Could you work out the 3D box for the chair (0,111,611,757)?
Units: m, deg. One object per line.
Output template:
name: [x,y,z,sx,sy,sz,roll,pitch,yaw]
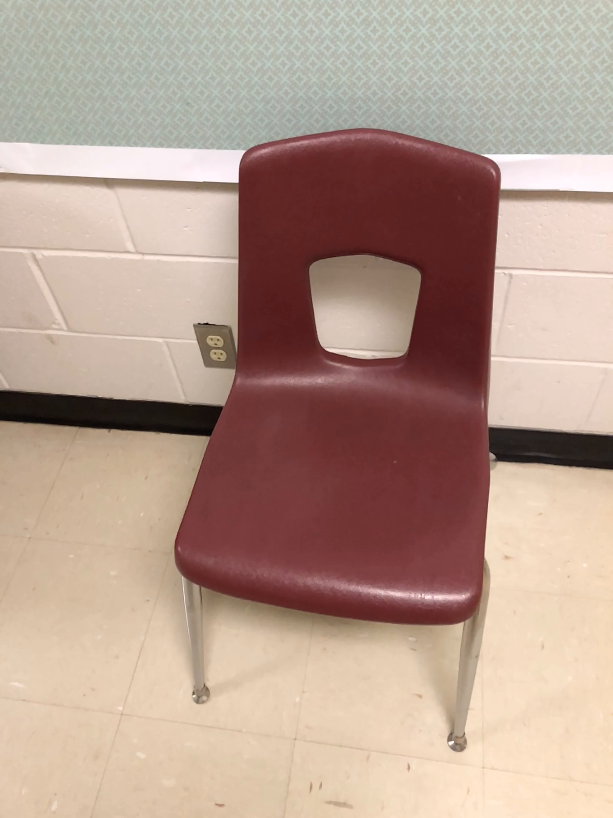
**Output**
chair: [0.040,0.066,0.952,0.504,0.708,0.556,6,52,10]
